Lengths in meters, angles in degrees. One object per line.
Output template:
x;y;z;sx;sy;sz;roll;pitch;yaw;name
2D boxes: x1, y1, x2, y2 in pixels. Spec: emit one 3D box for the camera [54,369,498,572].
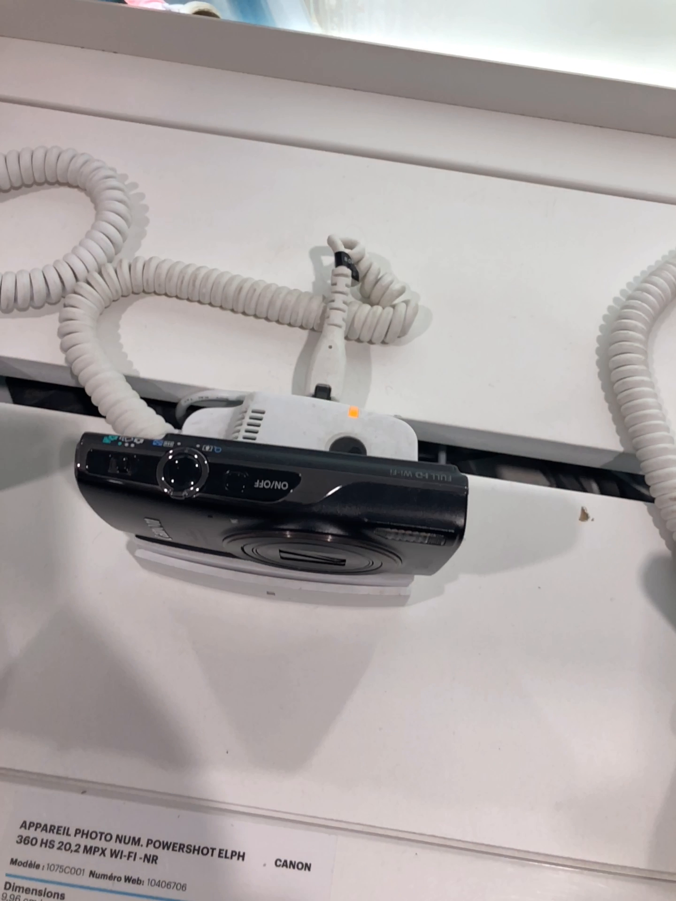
-0.016;0.009;0.223;0.113;0.057;0.026;7;66;0;camera
